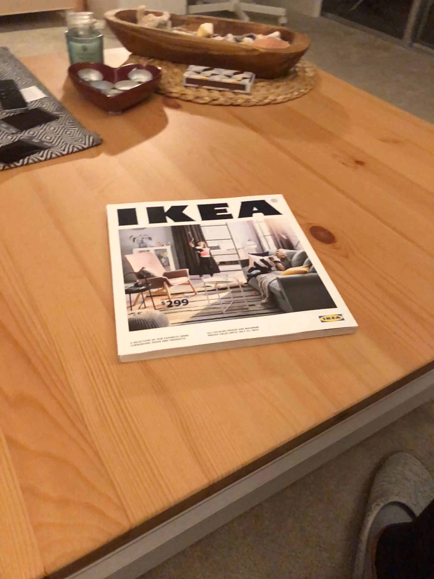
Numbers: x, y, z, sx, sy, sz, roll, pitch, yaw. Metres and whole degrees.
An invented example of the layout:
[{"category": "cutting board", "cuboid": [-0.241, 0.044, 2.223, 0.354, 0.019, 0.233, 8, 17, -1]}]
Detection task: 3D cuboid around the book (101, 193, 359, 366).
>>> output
[{"category": "book", "cuboid": [-0.003, -0.027, 0.477, 0.211, 0.015, 0.216, -6, 43, -12]}]
